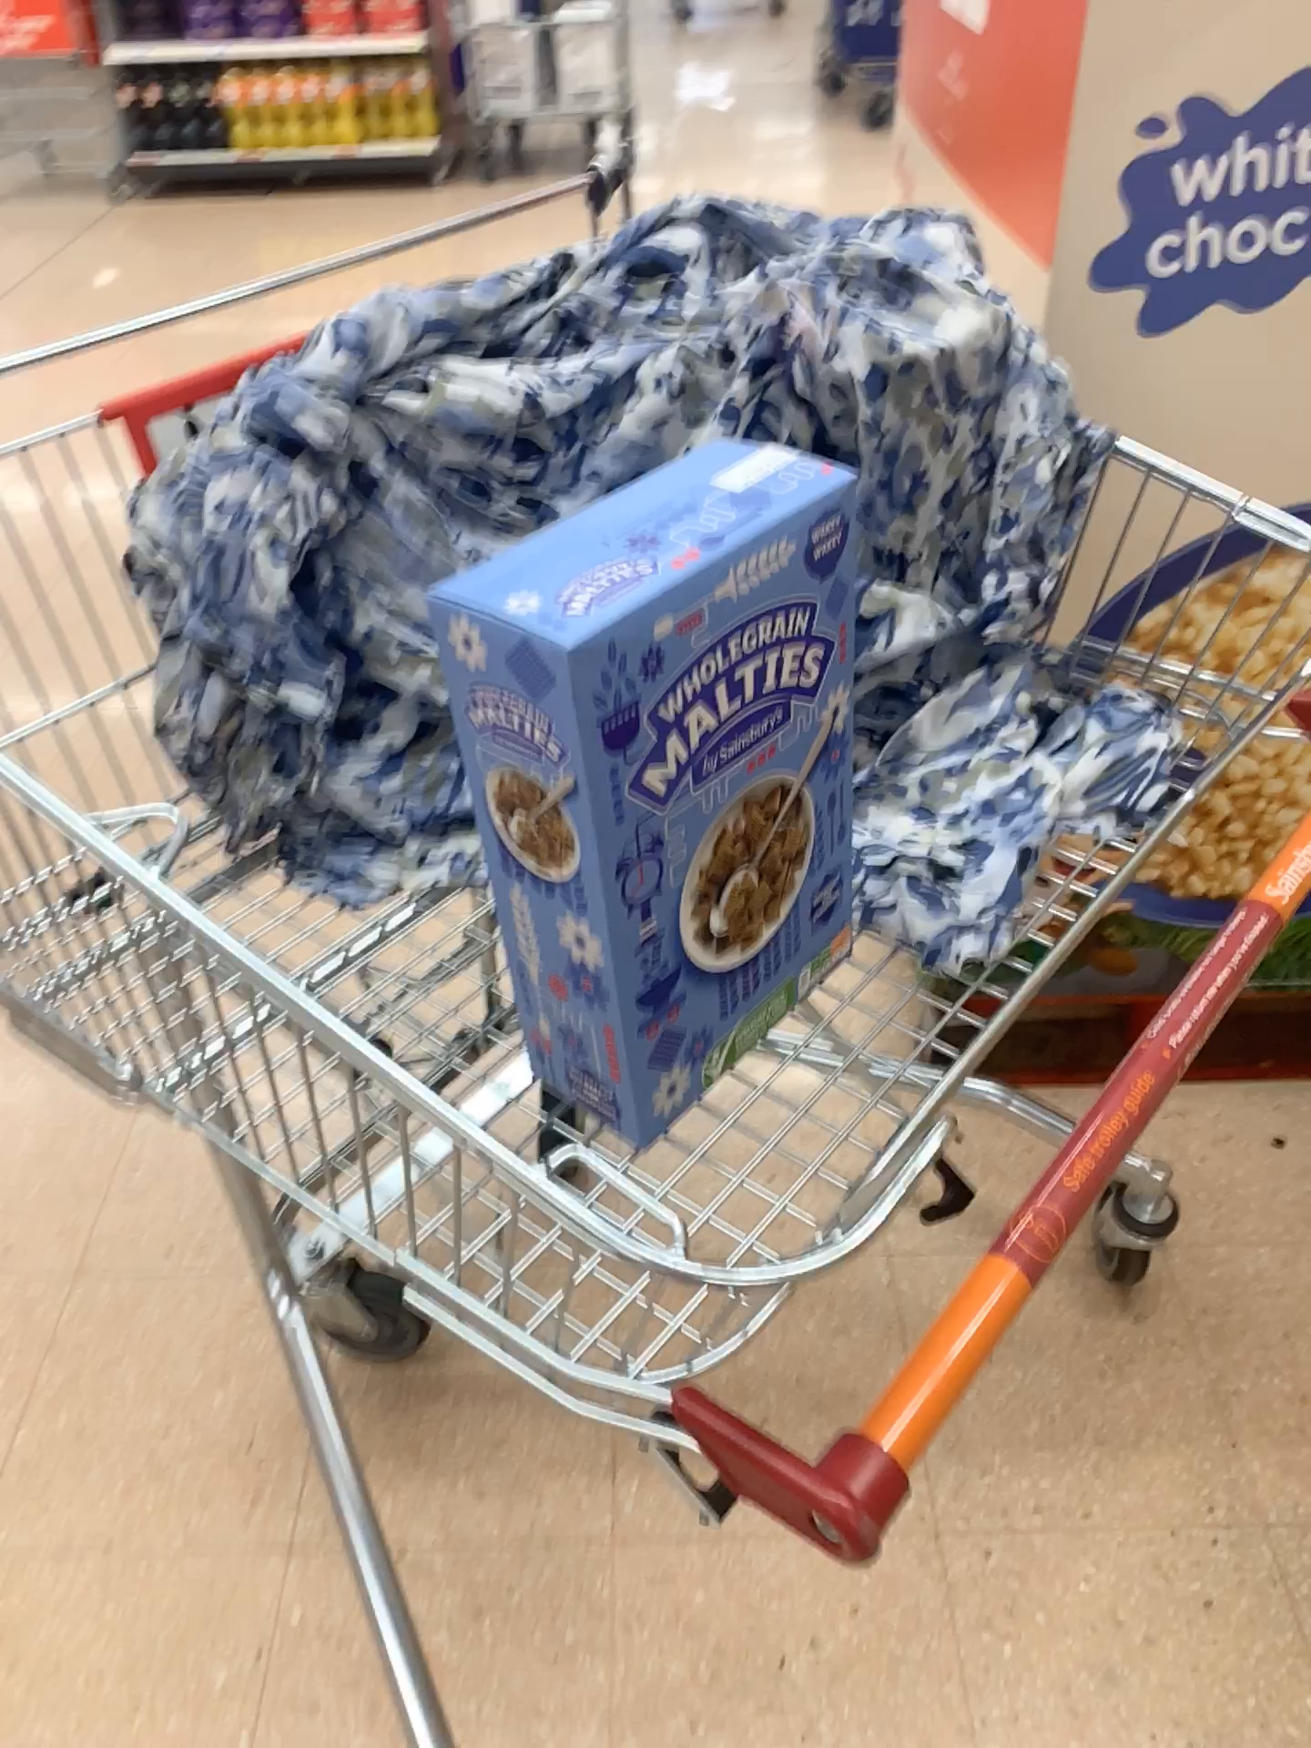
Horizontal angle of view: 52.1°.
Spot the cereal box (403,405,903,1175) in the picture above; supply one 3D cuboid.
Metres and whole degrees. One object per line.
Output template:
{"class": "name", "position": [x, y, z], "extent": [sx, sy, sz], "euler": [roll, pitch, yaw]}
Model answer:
{"class": "cereal box", "position": [0.017, -0.042, 0.646], "extent": [0.090, 0.287, 0.221], "euler": [23, 45, 33]}
